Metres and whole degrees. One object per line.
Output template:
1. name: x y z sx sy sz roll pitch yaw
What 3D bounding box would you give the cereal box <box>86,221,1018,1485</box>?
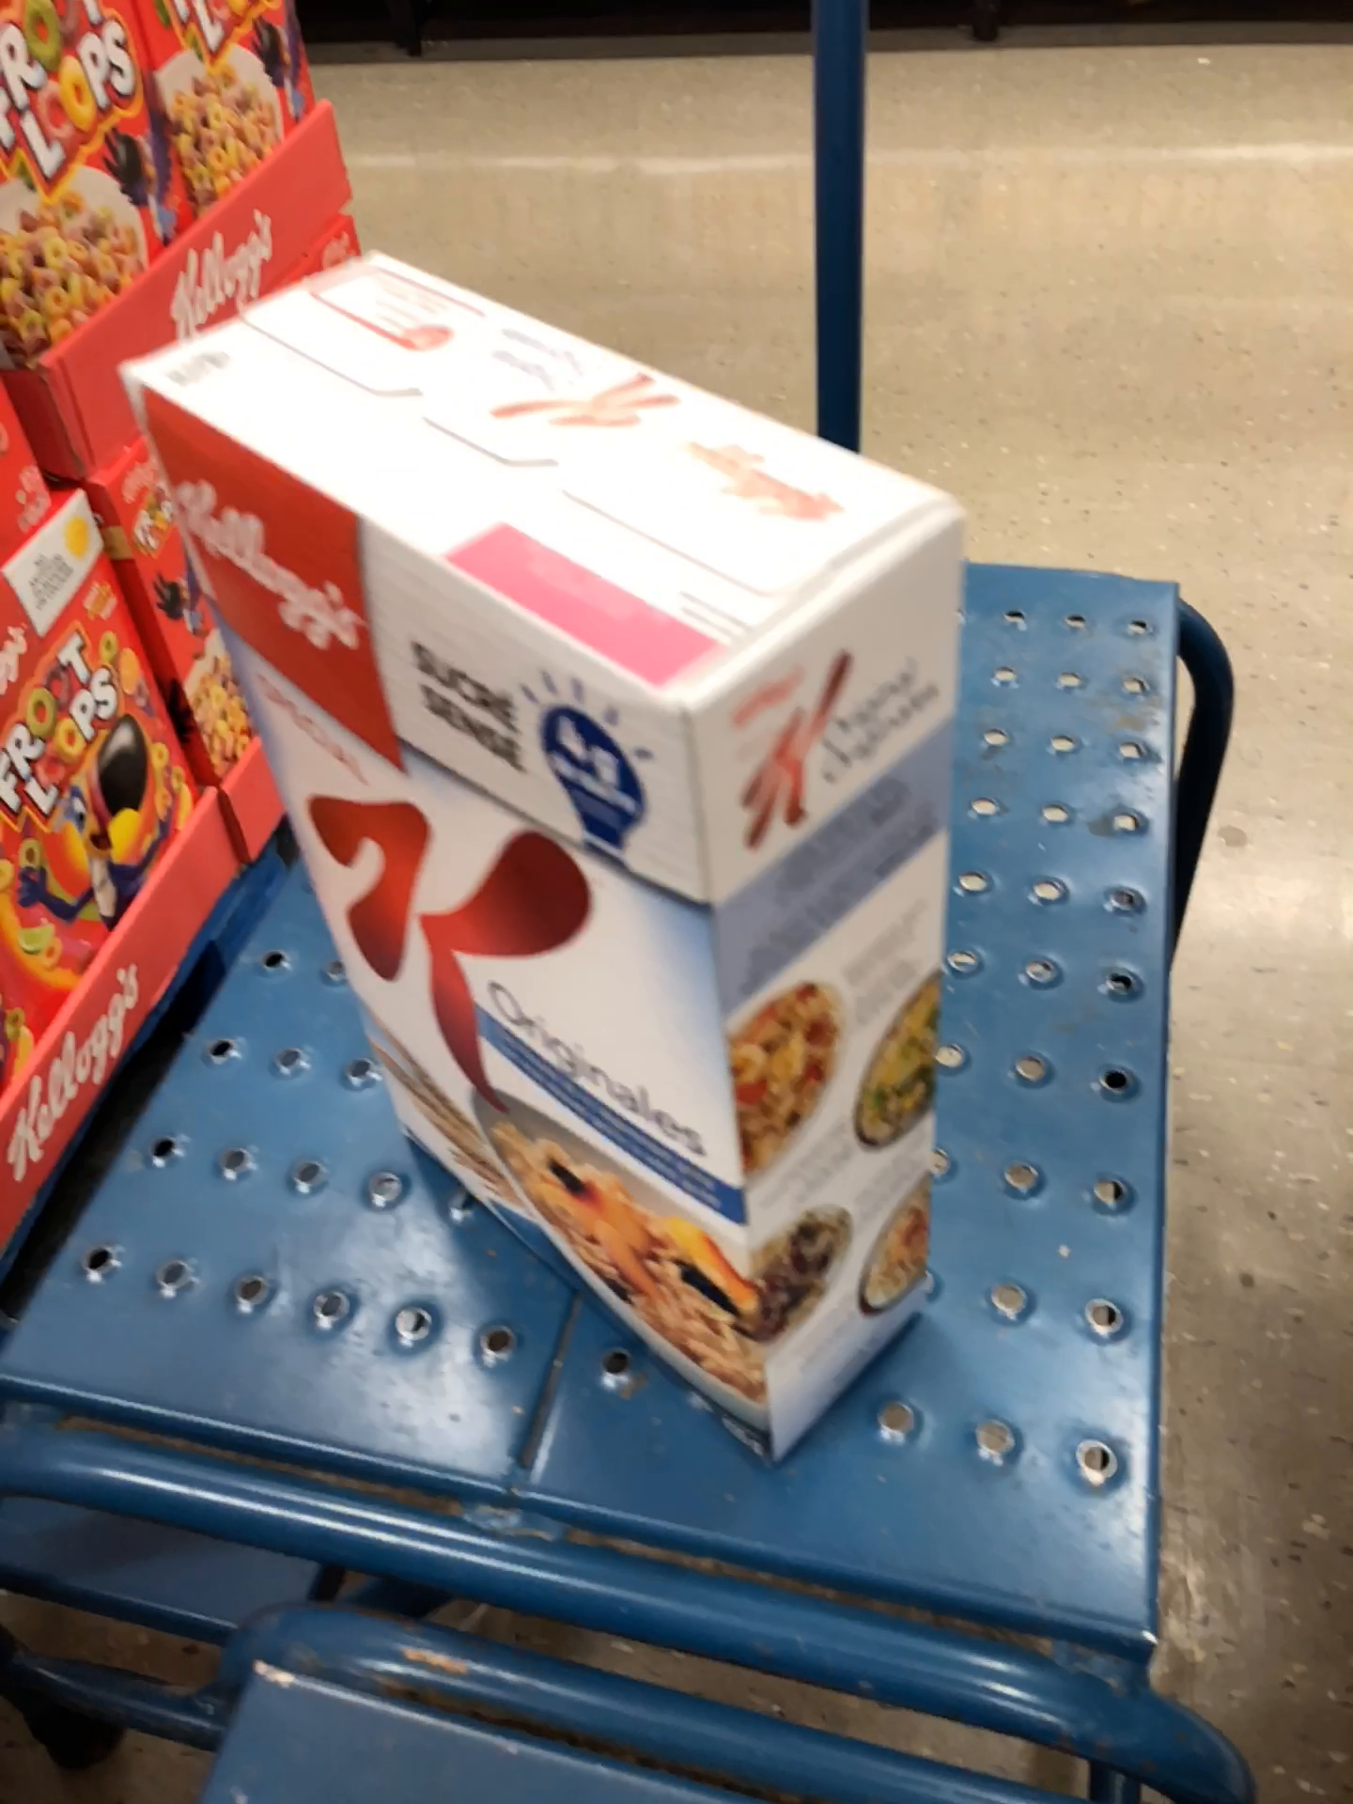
1. cereal box: -0.026 -0.002 0.415 0.080 0.299 0.211 -36 51 -27
